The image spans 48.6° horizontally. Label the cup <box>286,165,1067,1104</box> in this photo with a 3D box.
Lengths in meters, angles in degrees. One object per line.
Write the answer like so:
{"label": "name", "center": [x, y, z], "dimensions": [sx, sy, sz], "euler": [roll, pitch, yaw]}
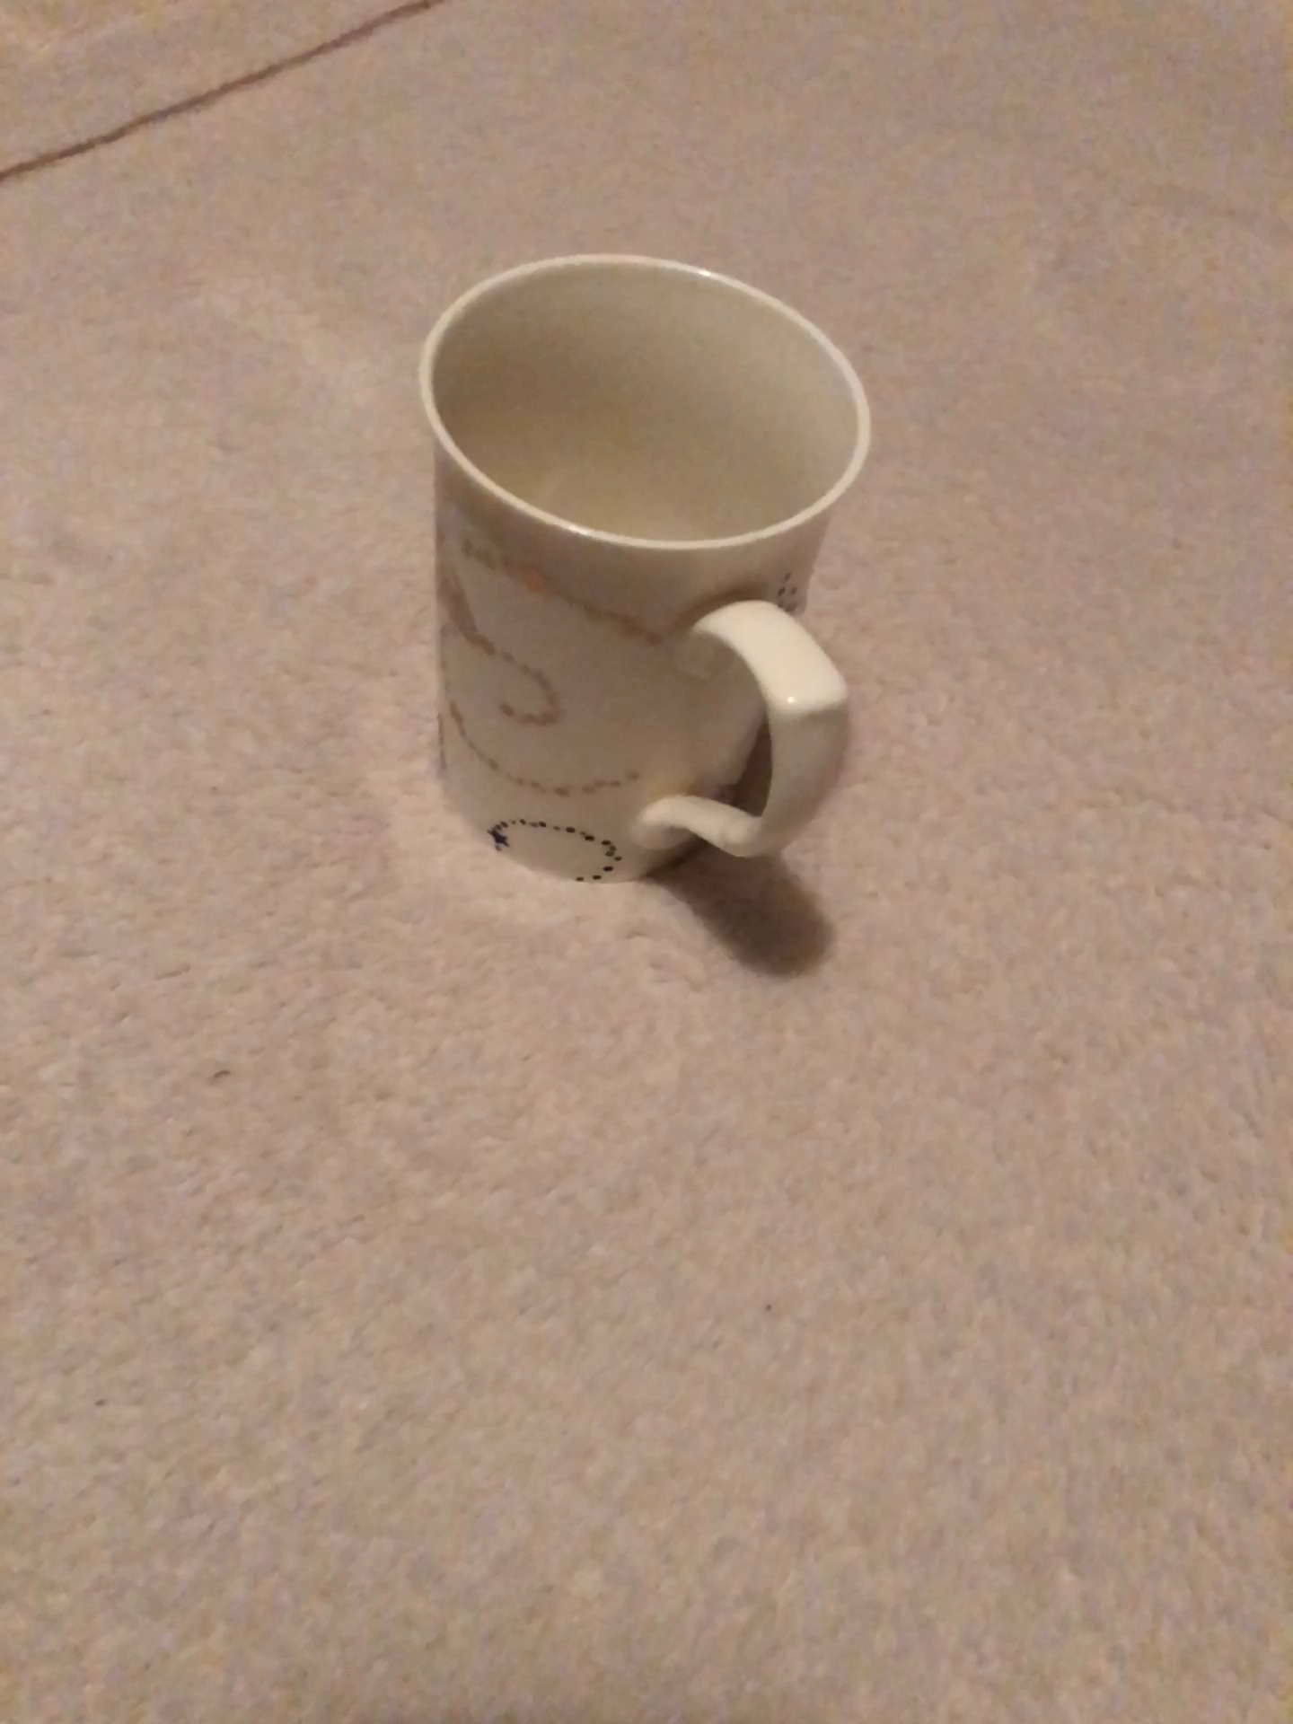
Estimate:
{"label": "cup", "center": [-0.003, -0.041, 0.266], "dimensions": [0.073, 0.110, 0.112], "euler": [-24, 59, -21]}
